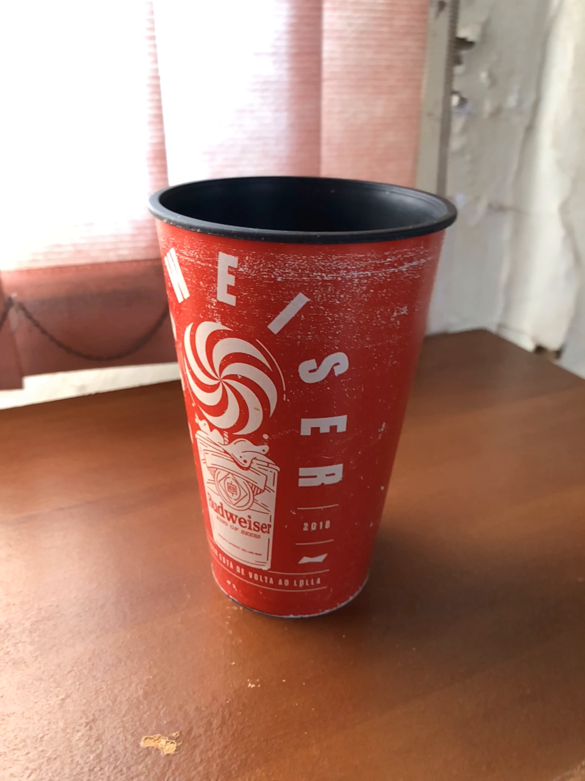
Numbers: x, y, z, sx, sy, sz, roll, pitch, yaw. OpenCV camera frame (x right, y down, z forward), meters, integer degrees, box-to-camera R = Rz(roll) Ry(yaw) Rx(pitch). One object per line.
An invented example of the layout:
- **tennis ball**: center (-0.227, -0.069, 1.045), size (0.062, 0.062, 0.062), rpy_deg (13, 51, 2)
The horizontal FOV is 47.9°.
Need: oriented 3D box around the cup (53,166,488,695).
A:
- **cup**: center (-0.001, 0.003, 0.229), size (0.100, 0.139, 0.091), rpy_deg (12, 28, 26)
